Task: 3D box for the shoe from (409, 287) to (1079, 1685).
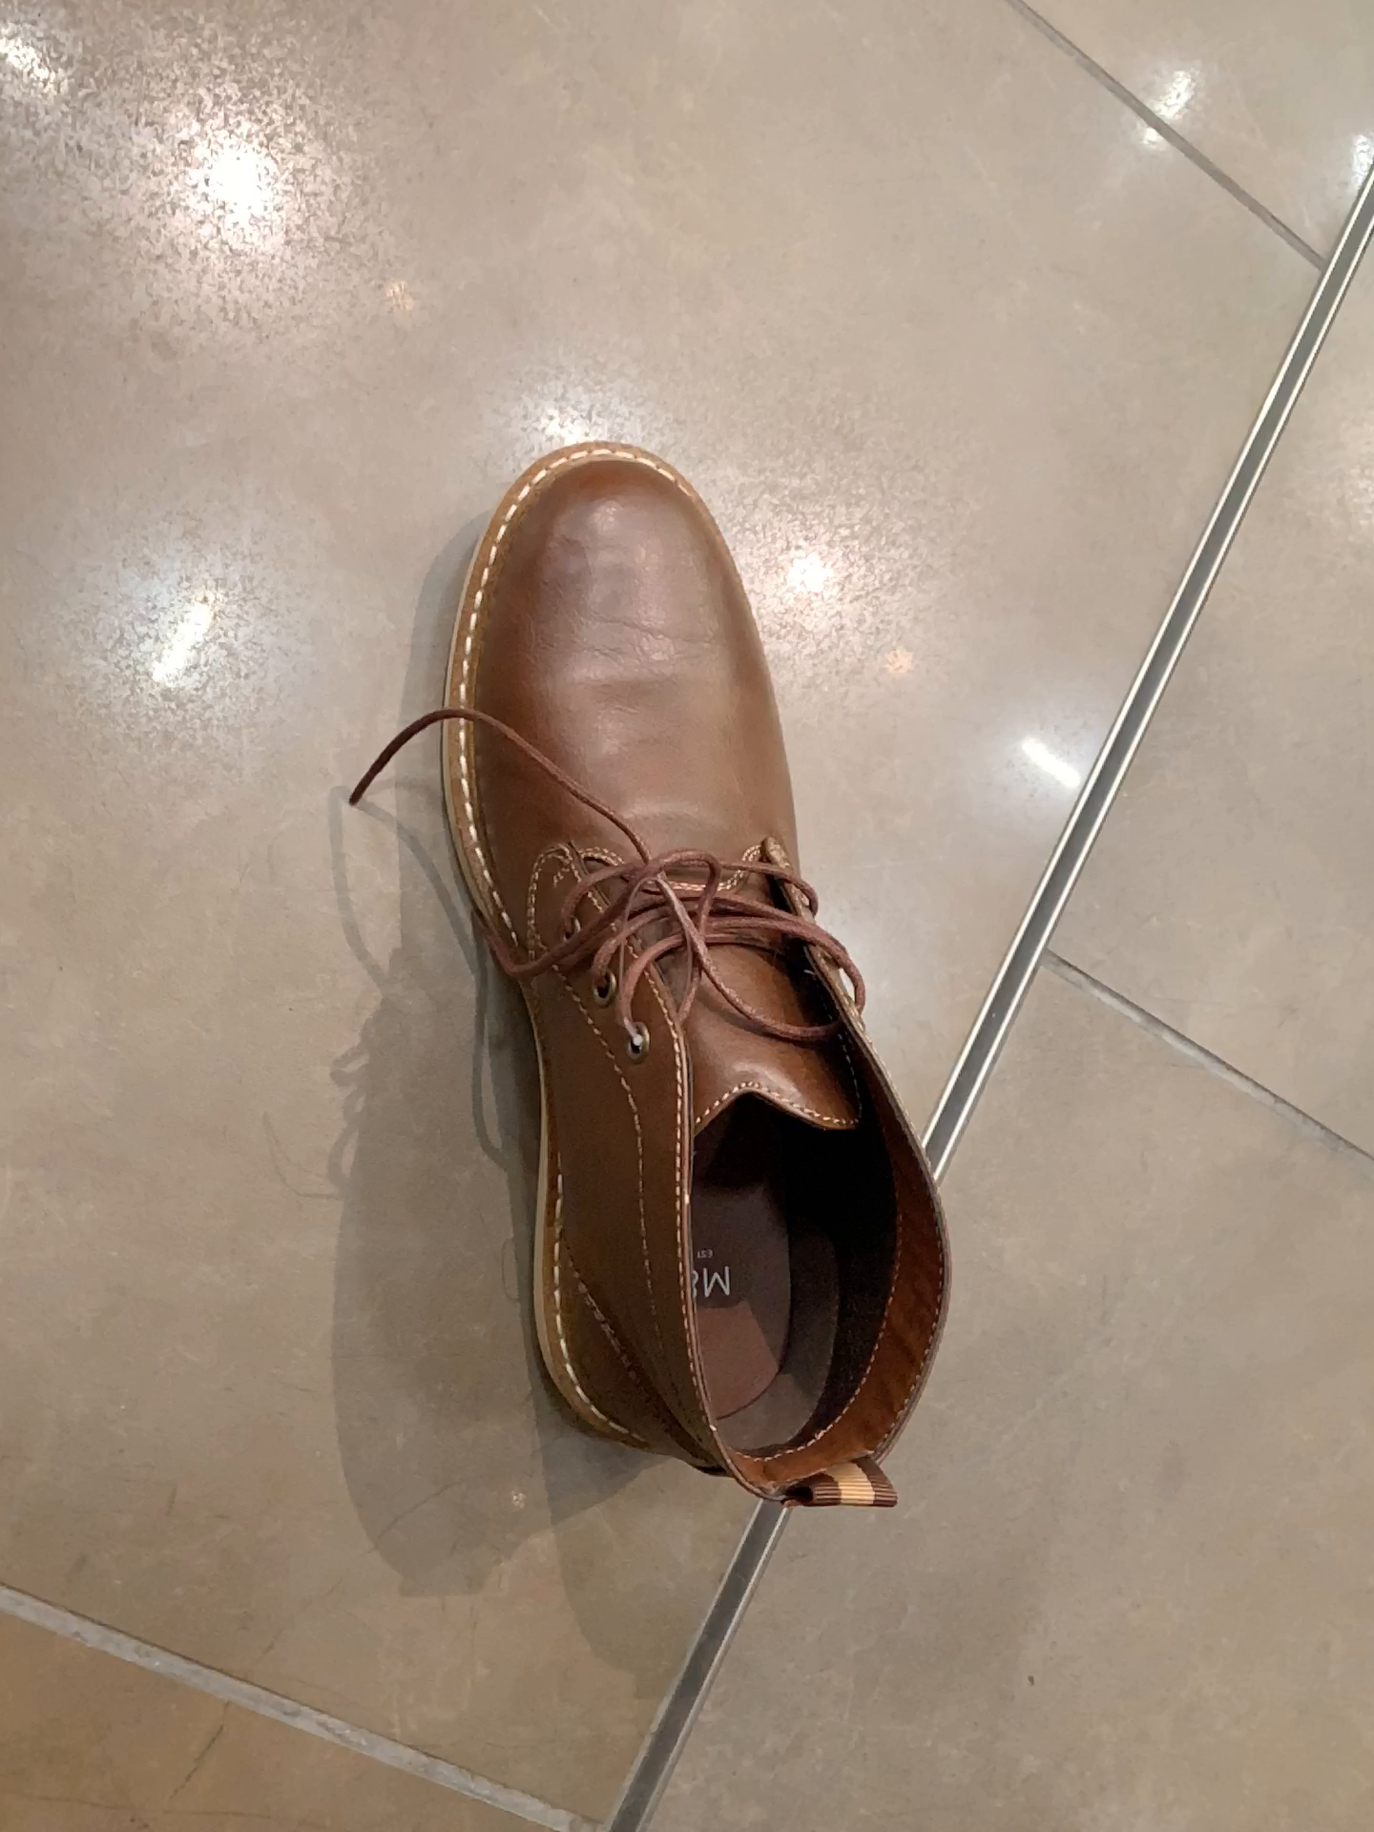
[{"bbox_3d":[0.004,0.011,0.370,0.107,0.120,0.294,-6,88,-19],"label":"shoe"}]
